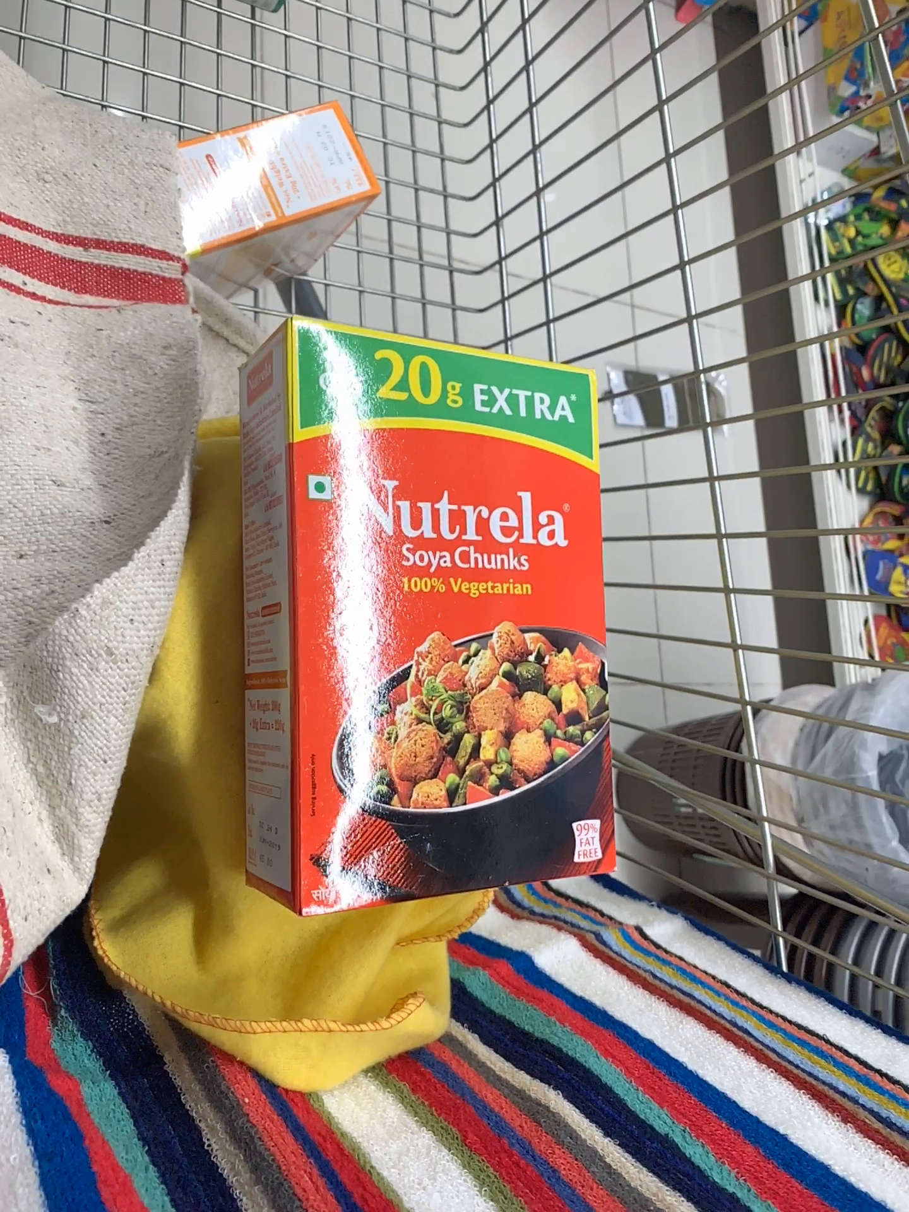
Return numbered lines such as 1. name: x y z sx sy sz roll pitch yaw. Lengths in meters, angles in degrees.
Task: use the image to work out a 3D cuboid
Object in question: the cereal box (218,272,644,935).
1. cereal box: -0.009 0.000 0.308 0.120 0.060 0.180 1 84 -30
